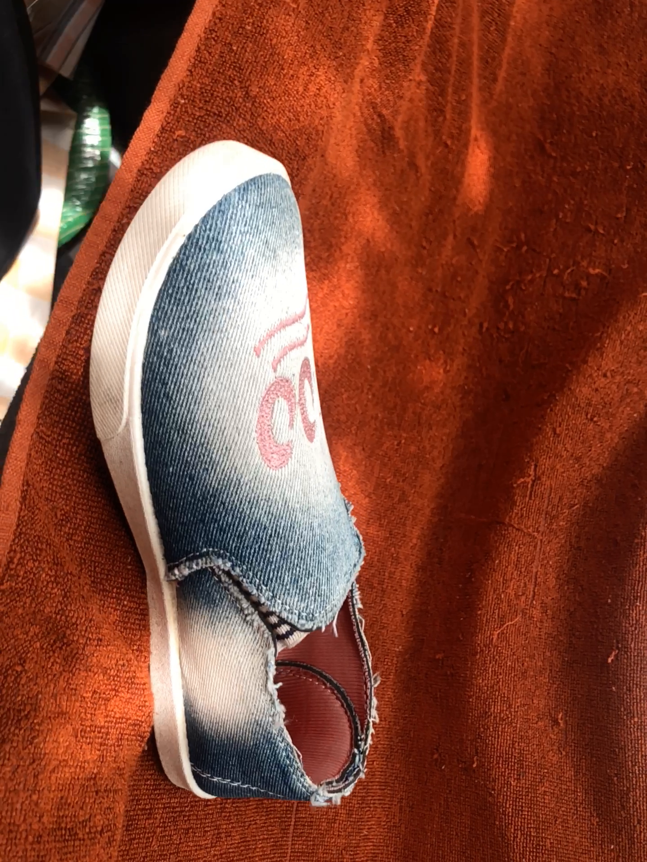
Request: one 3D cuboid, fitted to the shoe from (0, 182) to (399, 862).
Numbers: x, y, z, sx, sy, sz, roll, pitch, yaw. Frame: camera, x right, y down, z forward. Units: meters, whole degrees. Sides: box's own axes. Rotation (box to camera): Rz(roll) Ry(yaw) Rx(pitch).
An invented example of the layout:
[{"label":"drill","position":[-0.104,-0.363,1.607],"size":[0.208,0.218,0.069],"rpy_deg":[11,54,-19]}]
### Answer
[{"label":"shoe","position":[-0.033,0.035,0.278],"size":[0.091,0.079,0.240],"rpy_deg":[-34,123,-56]}]
